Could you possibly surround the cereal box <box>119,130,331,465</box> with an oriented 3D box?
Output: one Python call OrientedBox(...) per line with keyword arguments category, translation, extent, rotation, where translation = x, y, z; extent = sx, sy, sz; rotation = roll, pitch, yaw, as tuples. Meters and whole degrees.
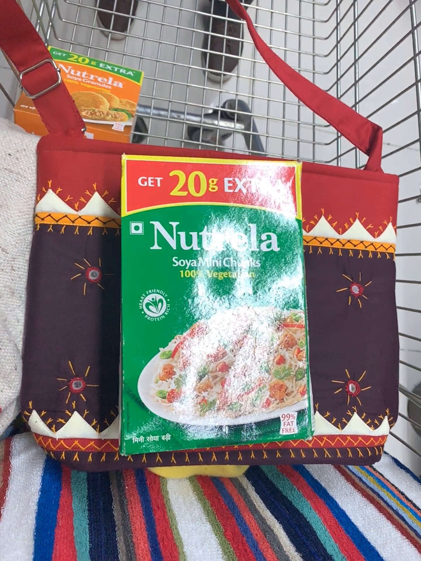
OrientedBox(category="cereal box", translation=(0.004, 0.007, 0.281), extent=(0.120, 0.050, 0.190), rotation=(-1, 83, -11))
